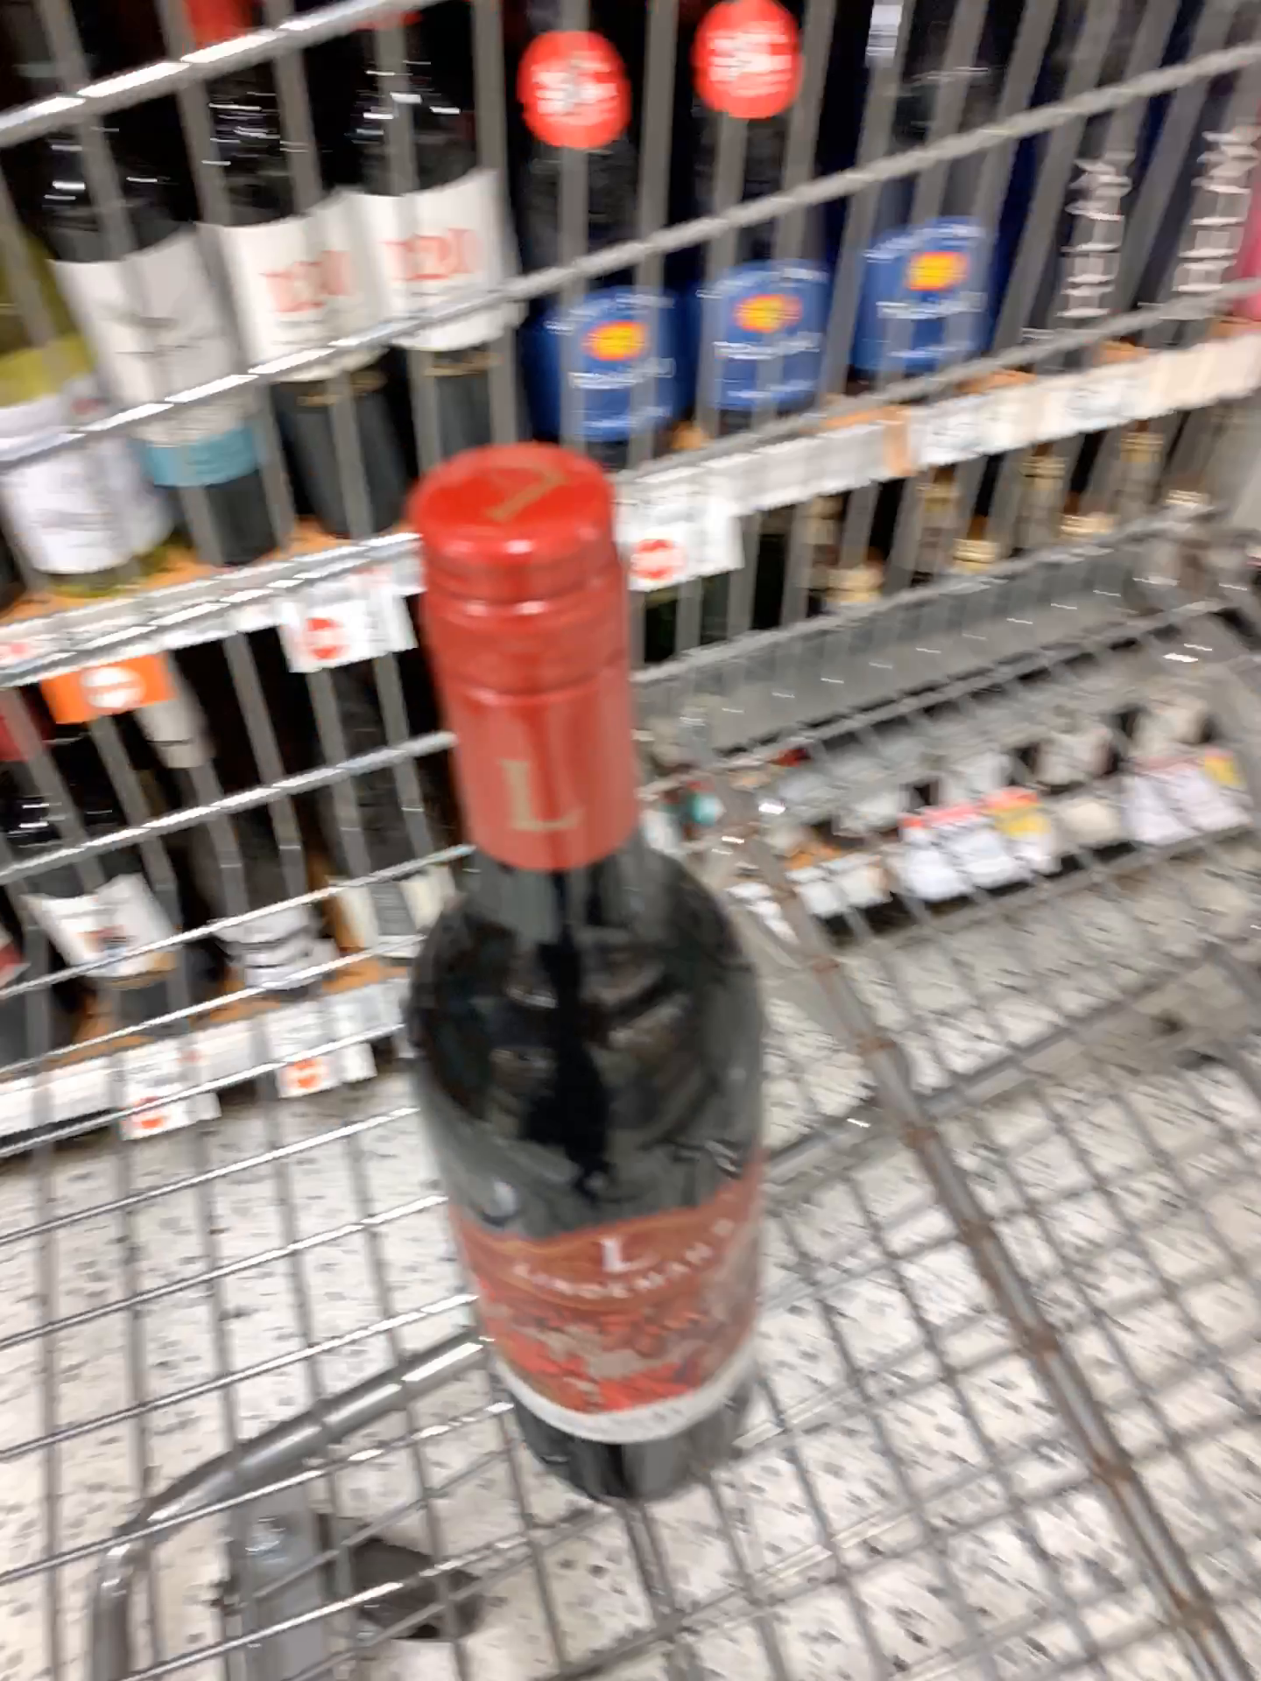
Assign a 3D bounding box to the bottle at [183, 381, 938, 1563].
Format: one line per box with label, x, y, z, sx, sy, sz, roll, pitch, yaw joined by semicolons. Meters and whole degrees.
bottle;-0.007;0.061;0.282;0.090;0.287;0.081;-13;47;-7
